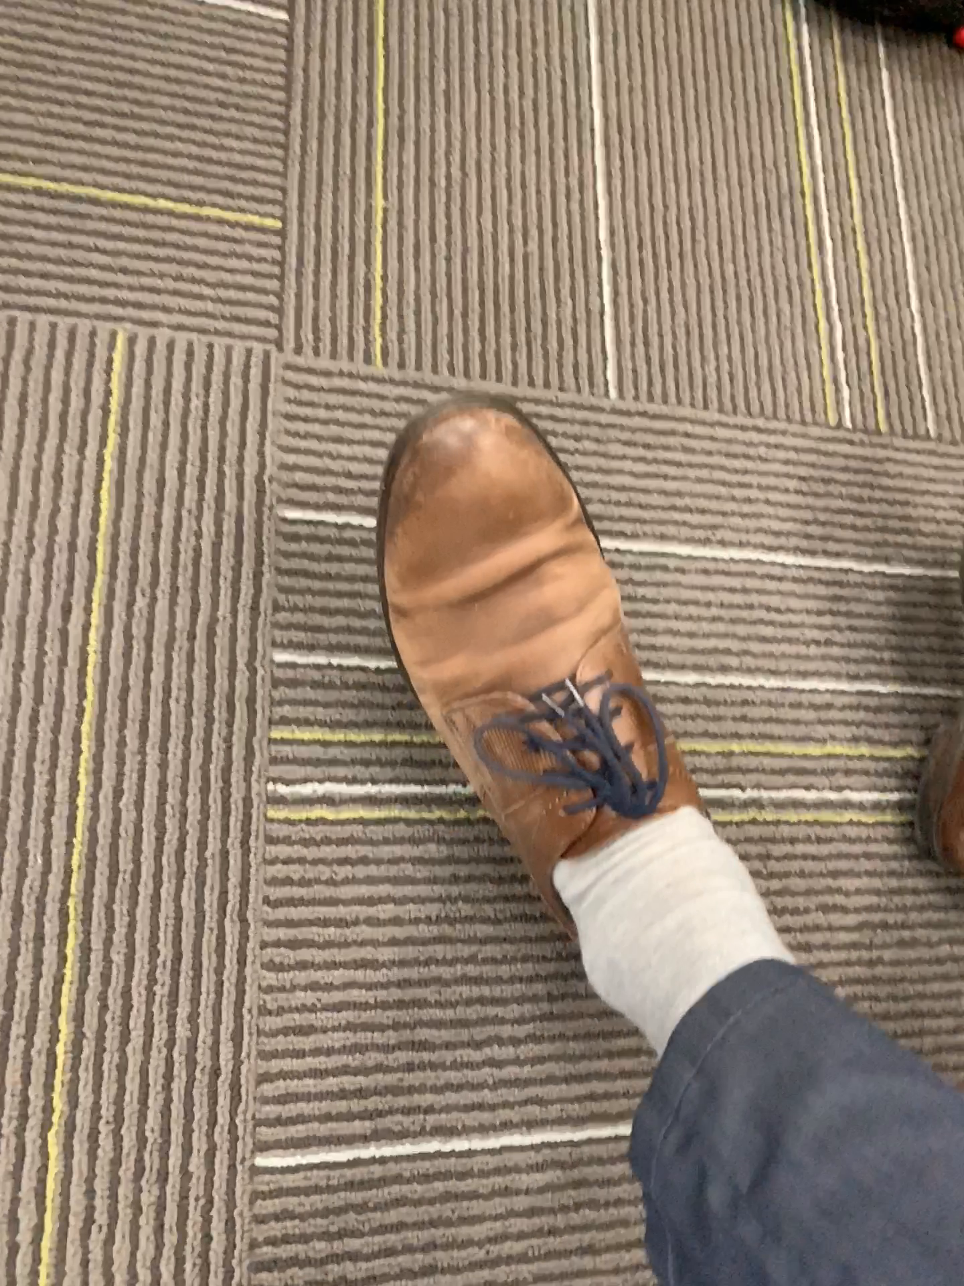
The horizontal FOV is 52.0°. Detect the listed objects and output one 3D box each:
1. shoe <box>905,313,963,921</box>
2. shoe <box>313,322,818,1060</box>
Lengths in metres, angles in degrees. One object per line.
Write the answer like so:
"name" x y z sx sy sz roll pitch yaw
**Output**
"shoe" 0.298 -0.012 0.516 0.103 0.074 0.281 1 96 -37
"shoe" 0.036 0.021 0.430 0.121 0.084 0.271 -22 104 -8
